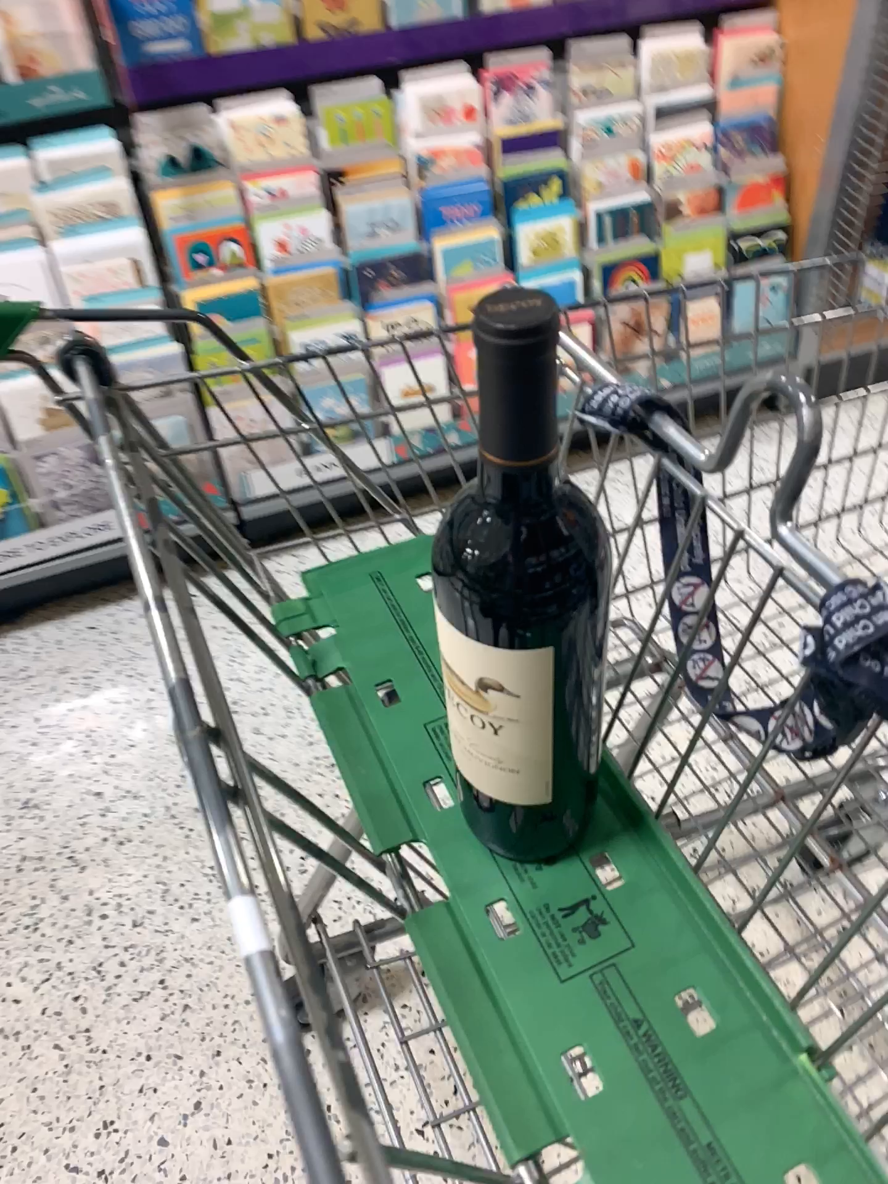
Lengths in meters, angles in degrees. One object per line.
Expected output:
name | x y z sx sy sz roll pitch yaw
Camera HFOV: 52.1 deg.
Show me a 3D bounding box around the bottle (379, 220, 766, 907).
bottle | 0.049 0.009 0.404 0.090 0.297 0.091 -2 44 2
